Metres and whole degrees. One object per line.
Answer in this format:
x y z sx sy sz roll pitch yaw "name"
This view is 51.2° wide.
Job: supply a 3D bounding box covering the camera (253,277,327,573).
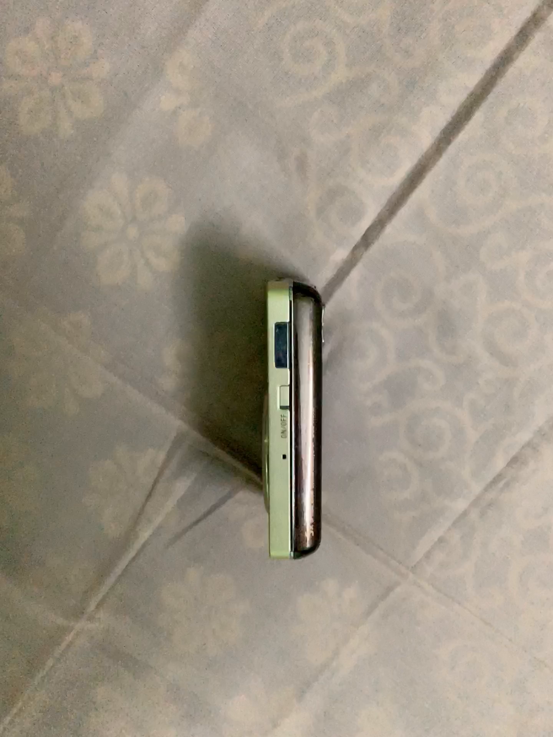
0.005 0.014 0.197 0.021 0.060 0.088 0 100 1 "camera"
